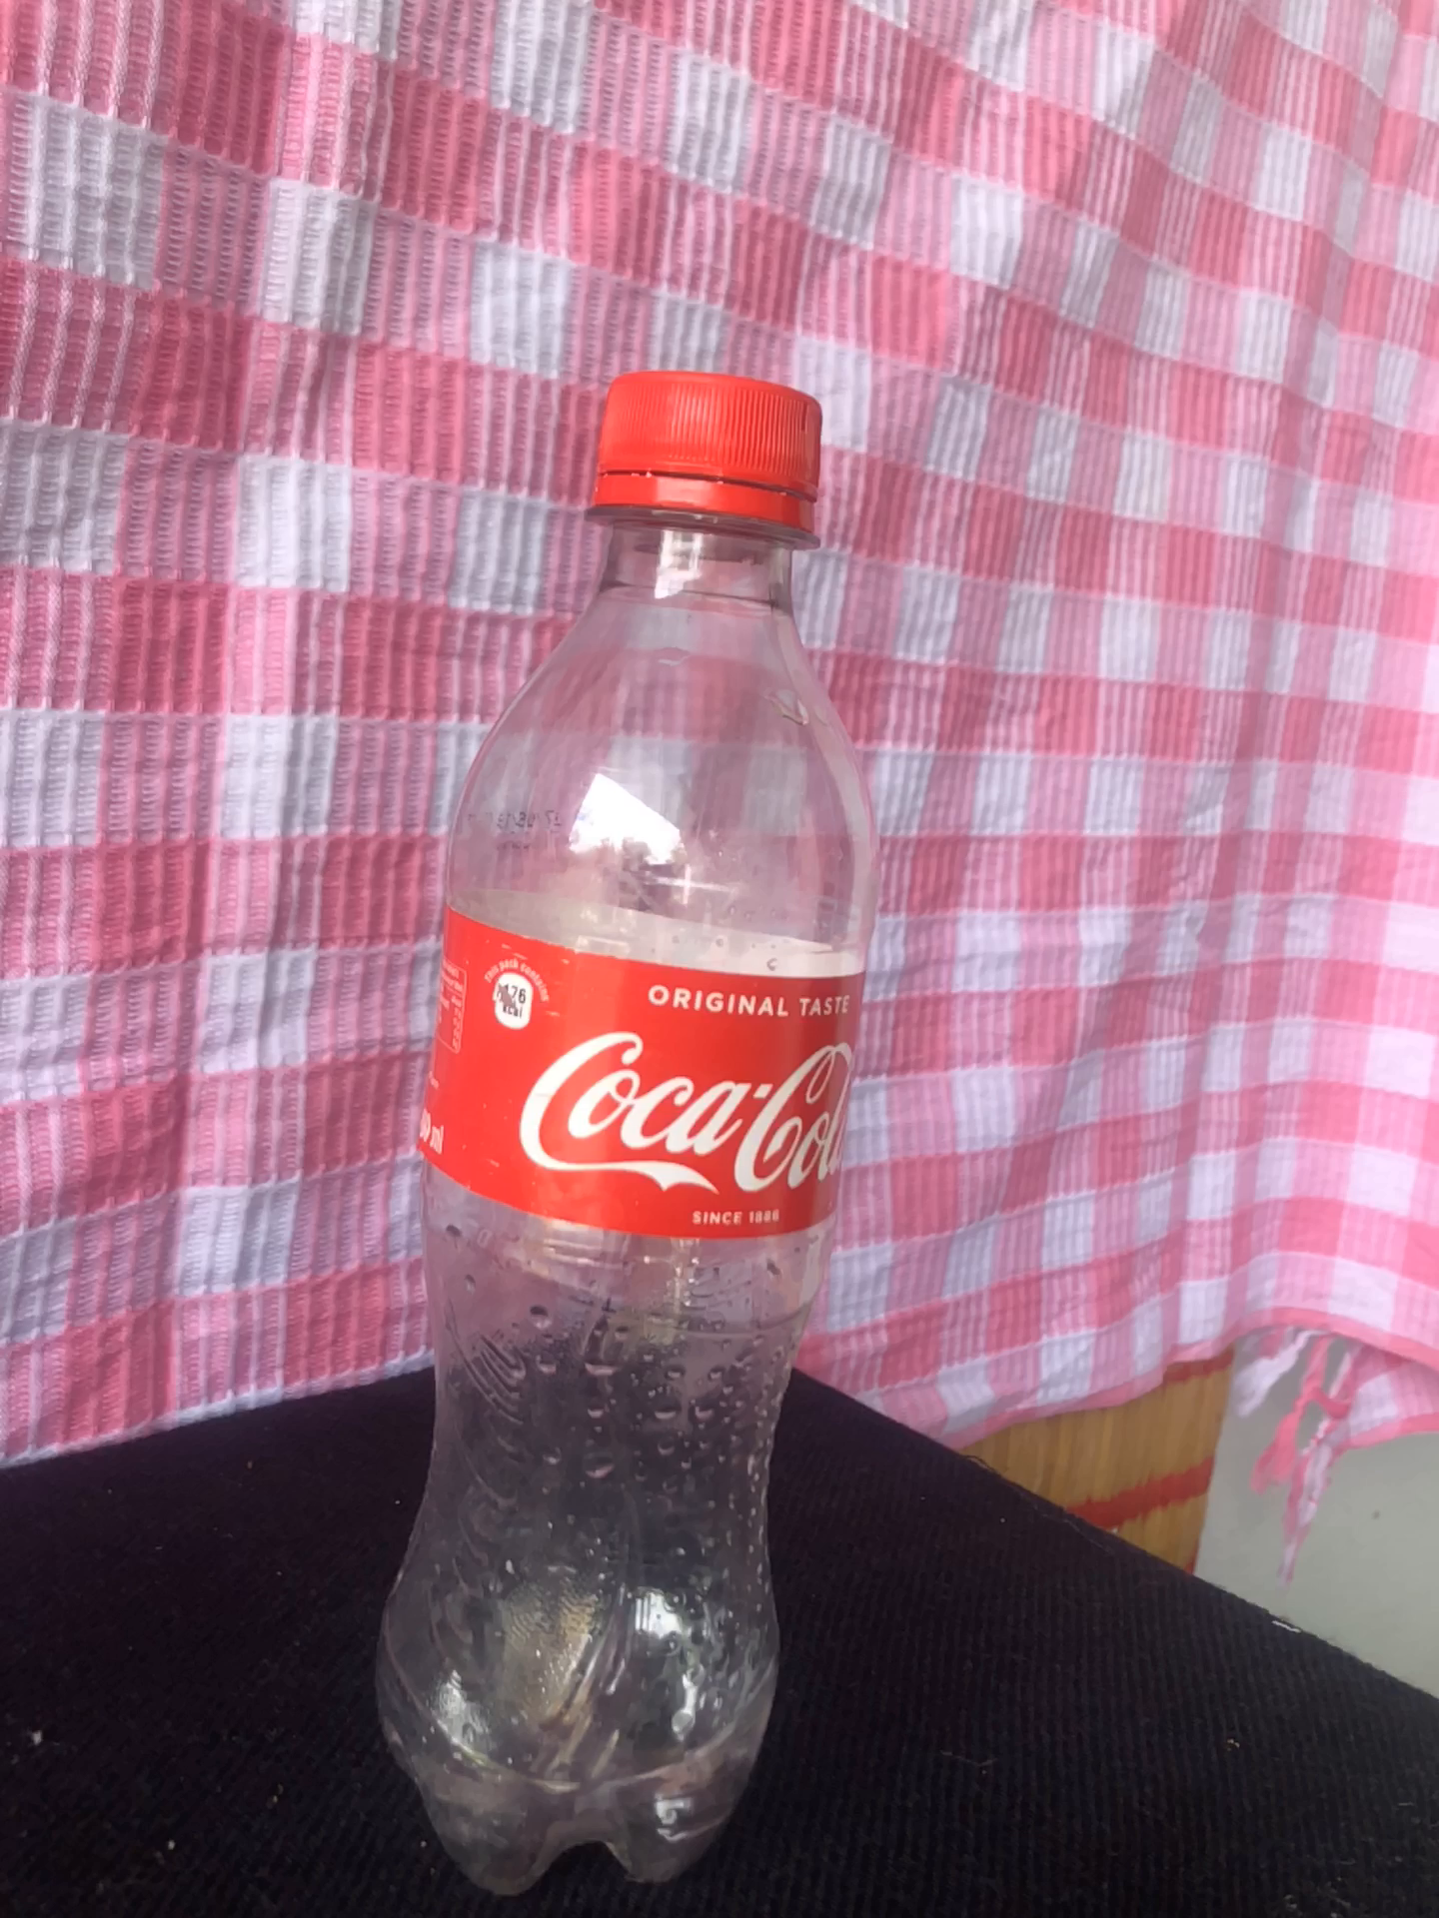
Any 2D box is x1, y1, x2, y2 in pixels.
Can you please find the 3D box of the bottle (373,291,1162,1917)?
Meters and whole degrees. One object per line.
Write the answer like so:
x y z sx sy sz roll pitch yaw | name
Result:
-0.002 0.021 0.216 0.060 0.190 0.060 9 9 -2 | bottle
